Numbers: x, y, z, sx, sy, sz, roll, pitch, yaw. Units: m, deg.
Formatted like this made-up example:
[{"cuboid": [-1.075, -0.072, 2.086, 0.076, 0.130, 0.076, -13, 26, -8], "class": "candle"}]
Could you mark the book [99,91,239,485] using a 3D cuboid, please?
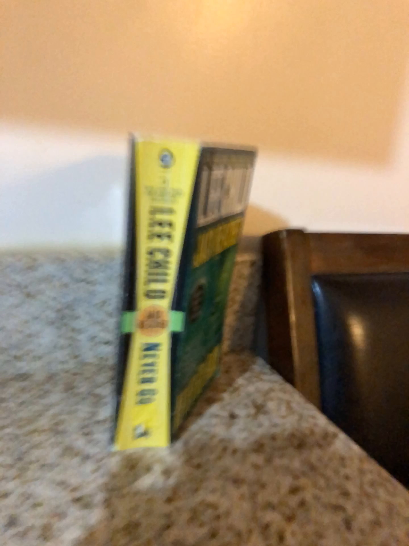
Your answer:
[{"cuboid": [-0.018, 0.000, 0.329, 0.050, 0.219, 0.161, 9, 15, 4], "class": "book"}]
